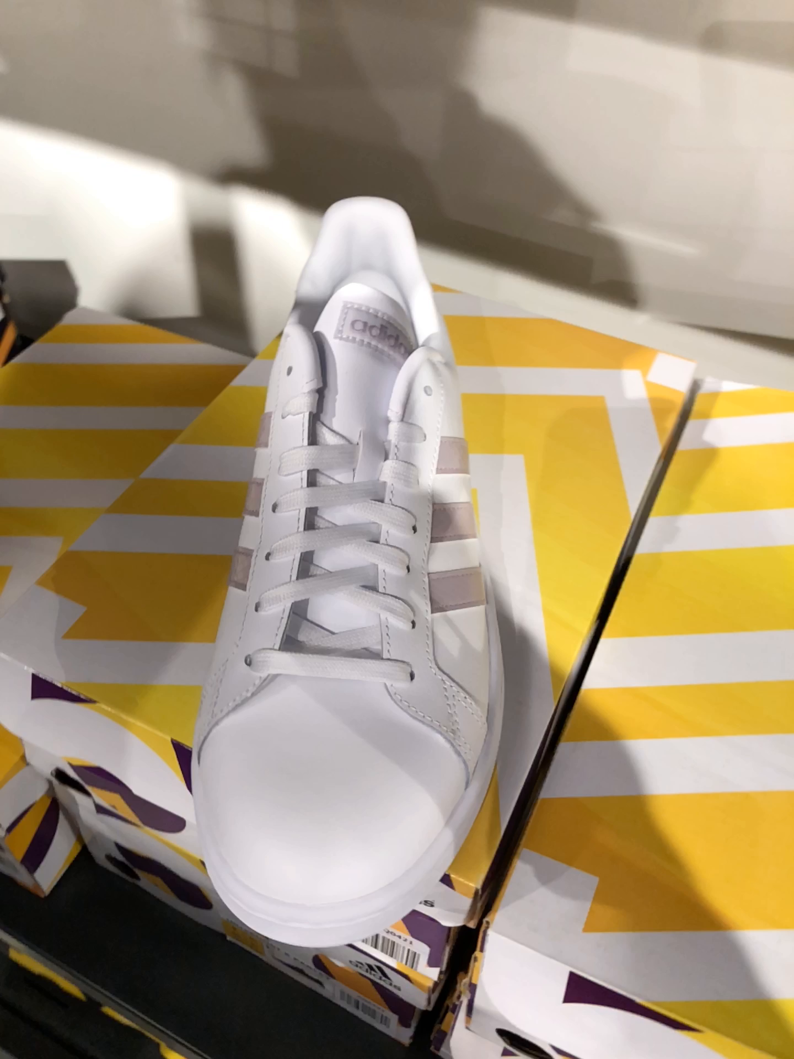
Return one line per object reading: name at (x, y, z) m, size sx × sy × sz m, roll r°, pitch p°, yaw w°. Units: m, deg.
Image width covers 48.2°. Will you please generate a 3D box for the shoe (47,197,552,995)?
shoe at (-0.015, -0.005, 0.324) m, size 0.110 × 0.090 × 0.291 m, roll 4°, pitch 48°, yaw 1°
